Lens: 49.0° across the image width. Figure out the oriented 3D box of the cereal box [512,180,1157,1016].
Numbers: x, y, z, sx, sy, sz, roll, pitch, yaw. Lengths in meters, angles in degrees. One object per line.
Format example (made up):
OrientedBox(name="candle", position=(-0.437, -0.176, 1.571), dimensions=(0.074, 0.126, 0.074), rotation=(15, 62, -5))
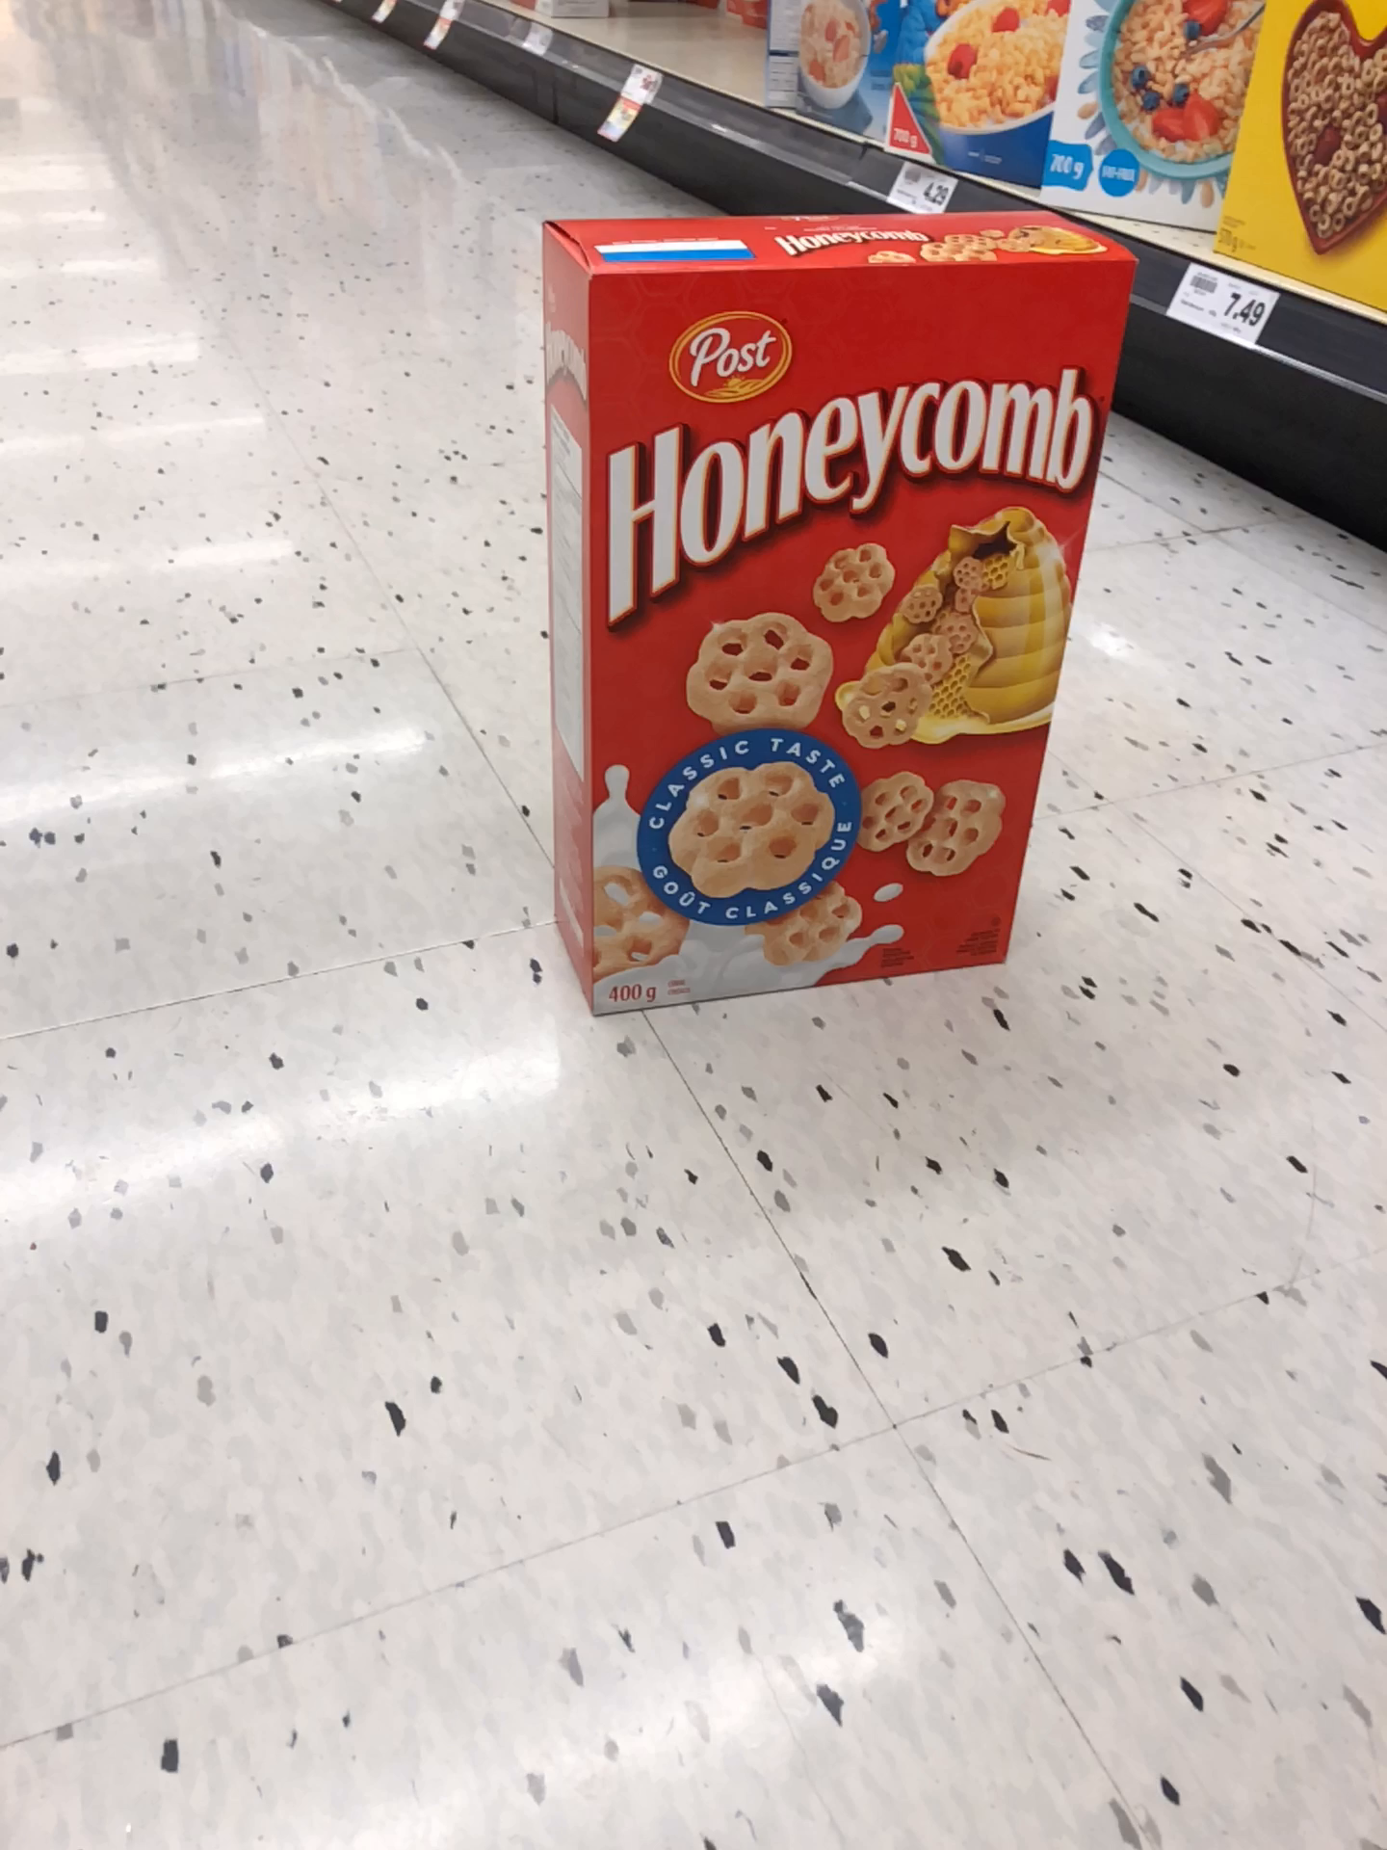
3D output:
OrientedBox(name="cereal box", position=(0.039, -0.119, 0.593), dimensions=(0.200, 0.298, 0.080), rotation=(-7, 36, -13))
